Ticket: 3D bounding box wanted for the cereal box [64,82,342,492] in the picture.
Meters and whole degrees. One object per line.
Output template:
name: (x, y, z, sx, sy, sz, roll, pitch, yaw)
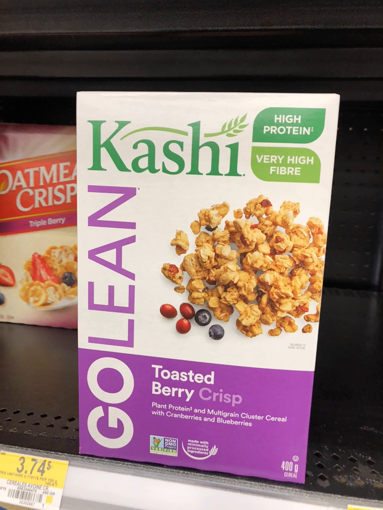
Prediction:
cereal box: (0.002, 0.023, 0.307, 0.170, 0.269, 0.050, 4, 11, 7)
